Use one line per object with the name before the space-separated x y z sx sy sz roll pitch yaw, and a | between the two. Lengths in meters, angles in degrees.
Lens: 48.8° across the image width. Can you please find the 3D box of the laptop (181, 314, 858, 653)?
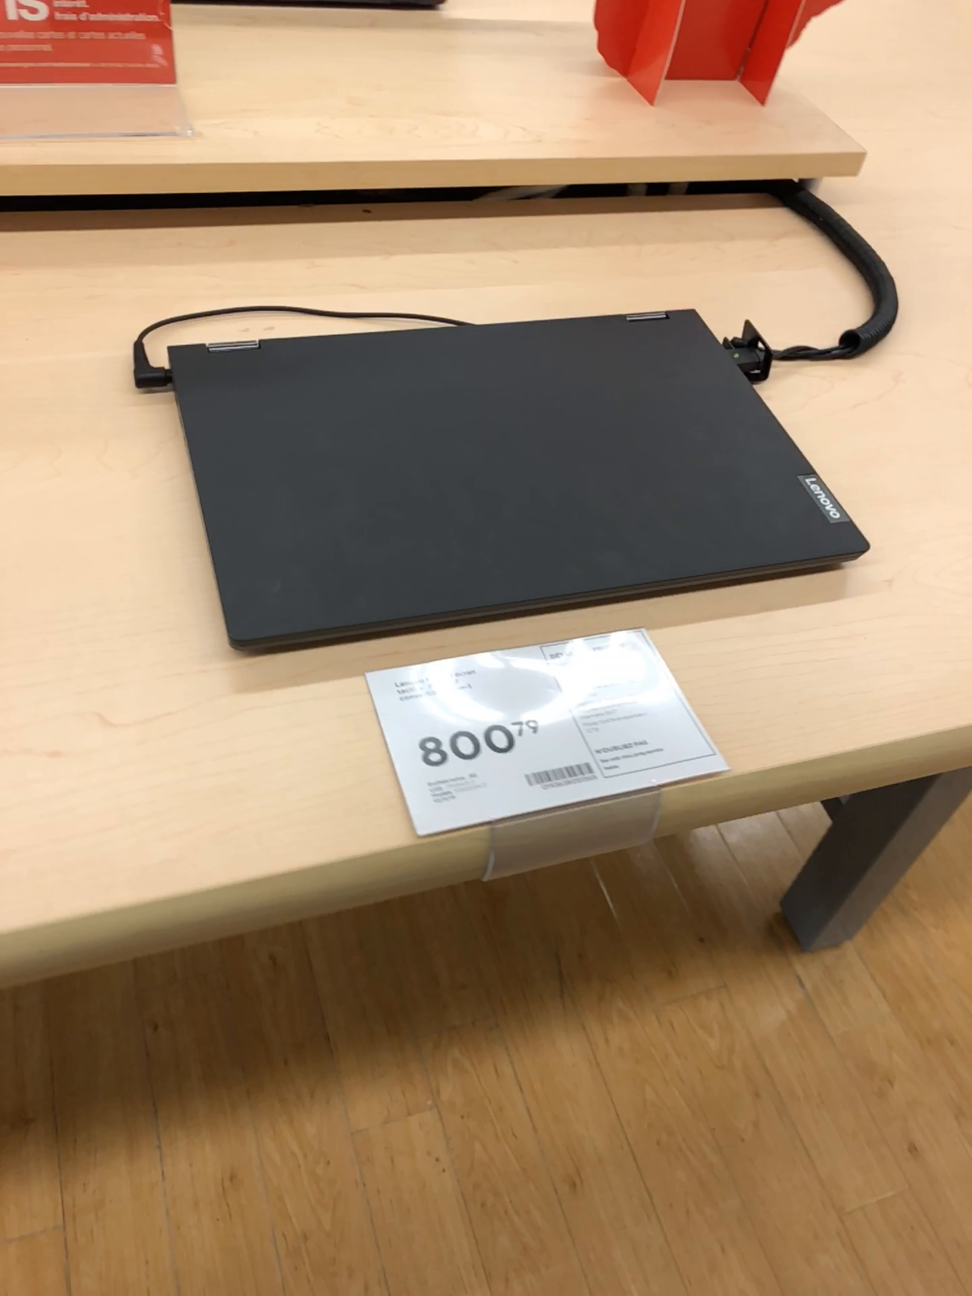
laptop | 0.014 -0.107 0.583 0.326 0.009 0.212 -9 53 -18
